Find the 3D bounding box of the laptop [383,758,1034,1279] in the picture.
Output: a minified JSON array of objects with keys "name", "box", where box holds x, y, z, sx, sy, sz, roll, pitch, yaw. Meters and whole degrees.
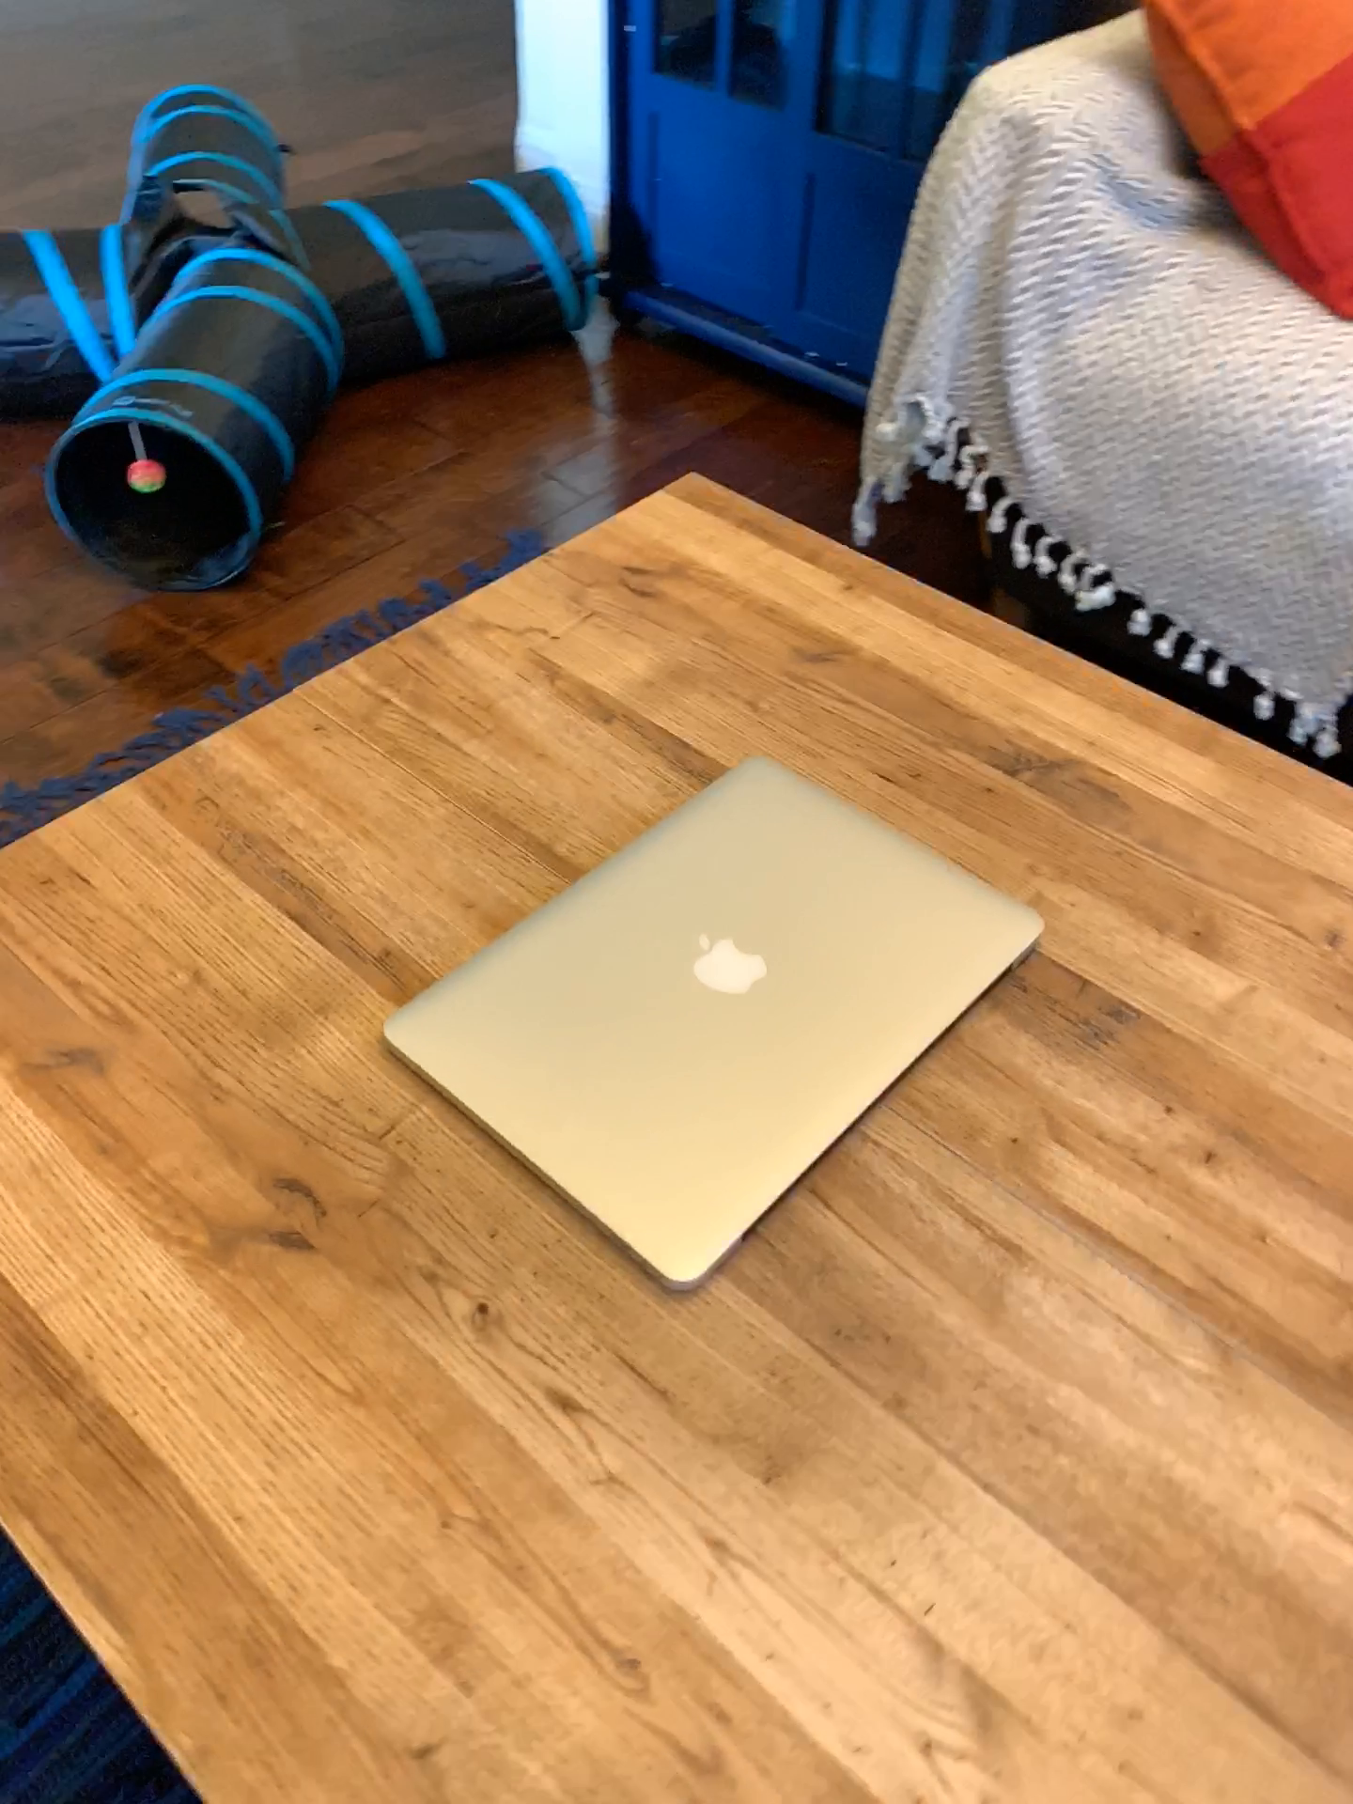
[{"name":"laptop","box":[0.025,0.039,0.744,0.208,0.002,0.299,33,53,27]}]
